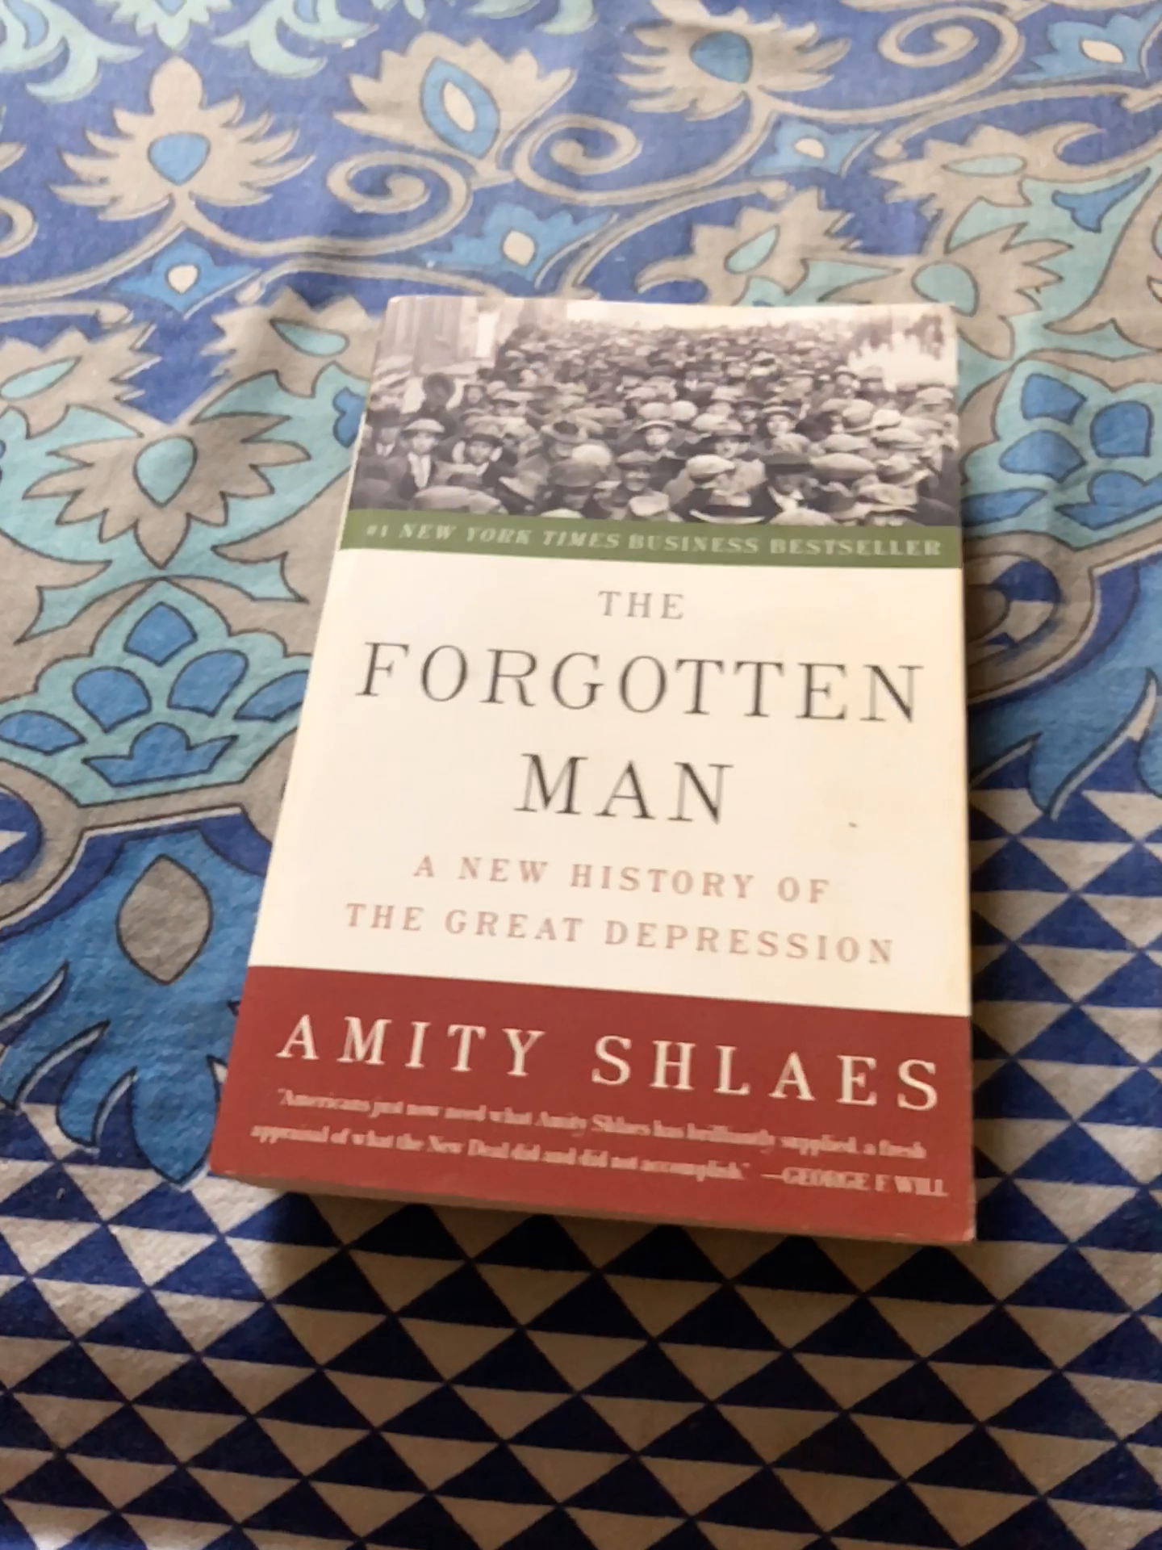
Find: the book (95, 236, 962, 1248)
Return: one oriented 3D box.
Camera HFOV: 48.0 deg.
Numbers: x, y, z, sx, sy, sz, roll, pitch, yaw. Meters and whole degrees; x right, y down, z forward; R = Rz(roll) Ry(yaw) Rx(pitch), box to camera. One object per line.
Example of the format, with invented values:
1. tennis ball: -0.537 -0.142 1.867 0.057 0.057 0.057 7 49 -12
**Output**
1. book: -0.002 -0.014 0.269 0.140 0.050 0.200 2 68 6
